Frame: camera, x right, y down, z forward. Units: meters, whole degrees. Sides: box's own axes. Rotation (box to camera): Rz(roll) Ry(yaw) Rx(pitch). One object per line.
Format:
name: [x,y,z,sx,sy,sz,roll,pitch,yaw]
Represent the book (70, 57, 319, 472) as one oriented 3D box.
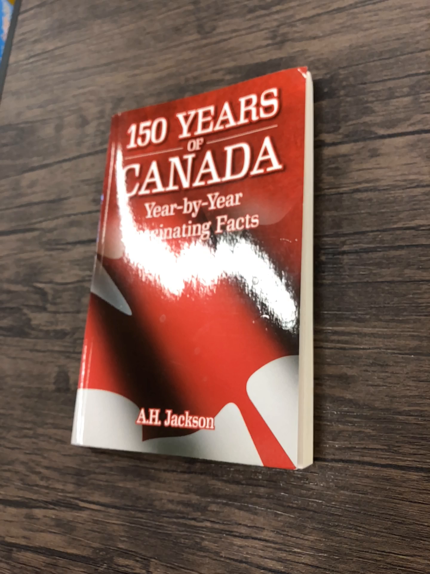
book: [-0.010,-0.014,0.271,0.130,0.025,0.206,-5,72,29]
